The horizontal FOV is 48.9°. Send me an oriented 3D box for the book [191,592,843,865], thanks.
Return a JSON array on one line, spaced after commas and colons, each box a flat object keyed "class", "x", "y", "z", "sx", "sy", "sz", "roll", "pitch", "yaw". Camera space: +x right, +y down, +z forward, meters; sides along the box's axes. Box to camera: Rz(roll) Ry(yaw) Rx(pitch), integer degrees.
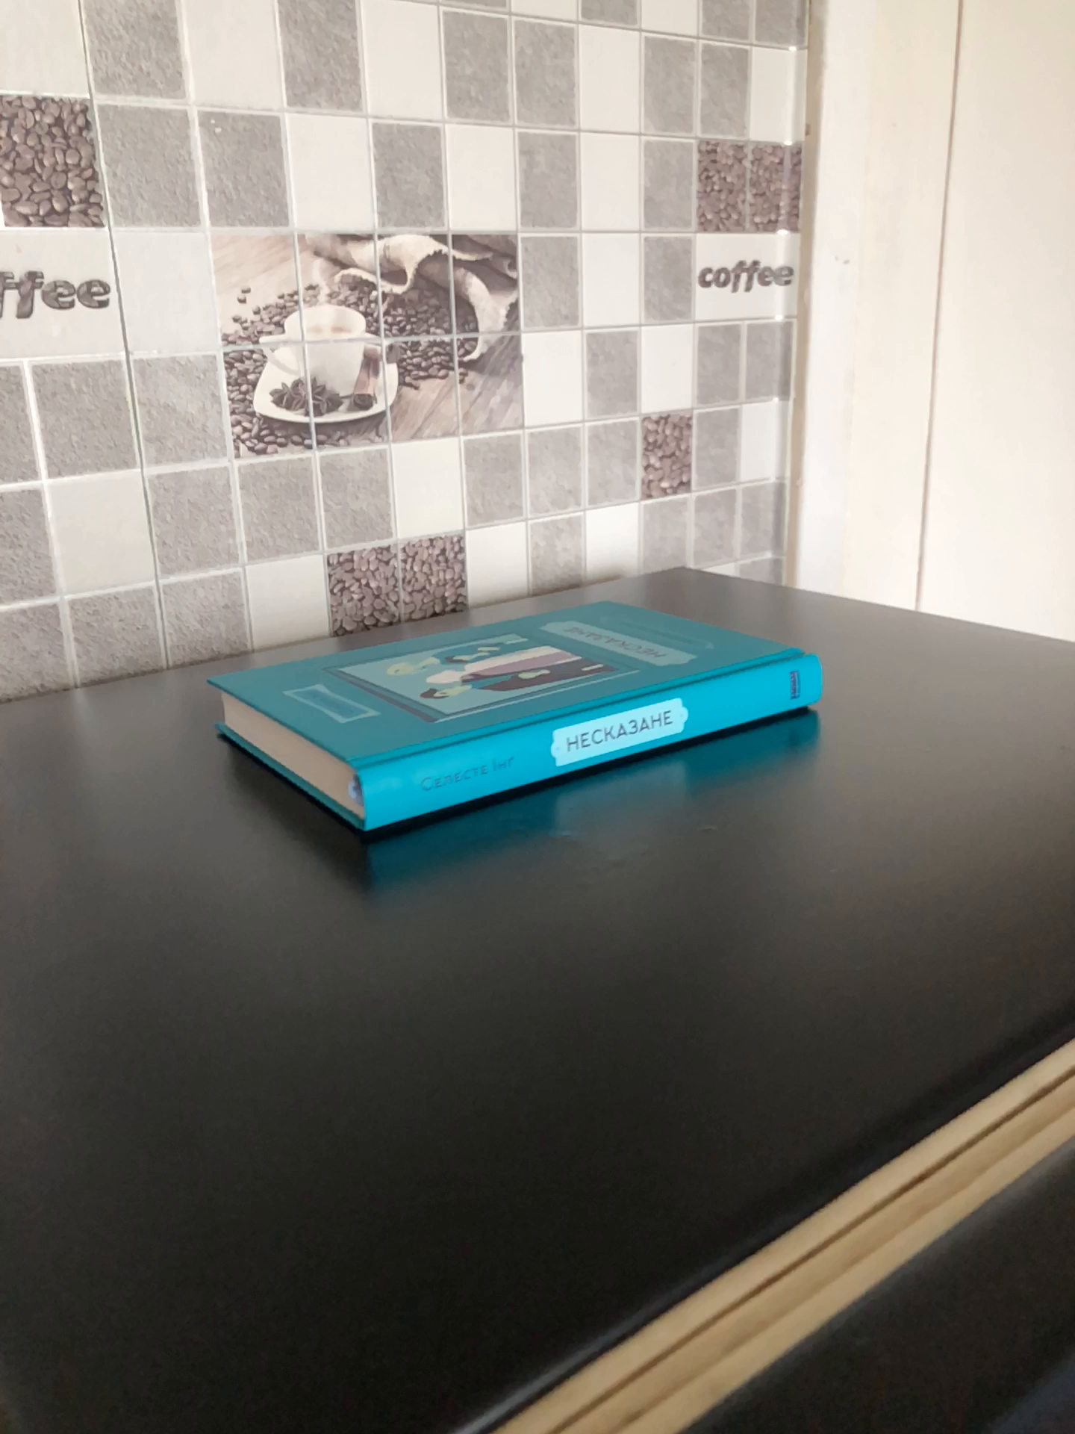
[{"class": "book", "x": -0.008, "y": -0.008, "z": 0.488, "sx": 0.220, "sy": 0.030, "sz": 0.151, "roll": -14, "pitch": 22, "yaw": -32}]
